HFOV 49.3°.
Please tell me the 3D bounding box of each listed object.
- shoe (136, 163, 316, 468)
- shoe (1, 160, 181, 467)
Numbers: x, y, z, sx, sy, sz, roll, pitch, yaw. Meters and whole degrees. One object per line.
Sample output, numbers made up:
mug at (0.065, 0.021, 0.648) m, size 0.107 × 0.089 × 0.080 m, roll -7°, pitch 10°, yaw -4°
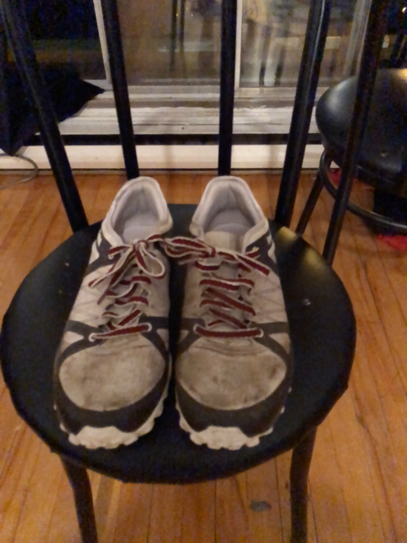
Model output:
shoe at (0.017, 0.017, 0.444) m, size 0.120 × 0.099 × 0.313 m, roll 0°, pitch 44°, yaw 1°
shoe at (-0.082, 0.015, 0.441) m, size 0.100 × 0.099 × 0.313 m, roll 0°, pitch 44°, yaw 1°
